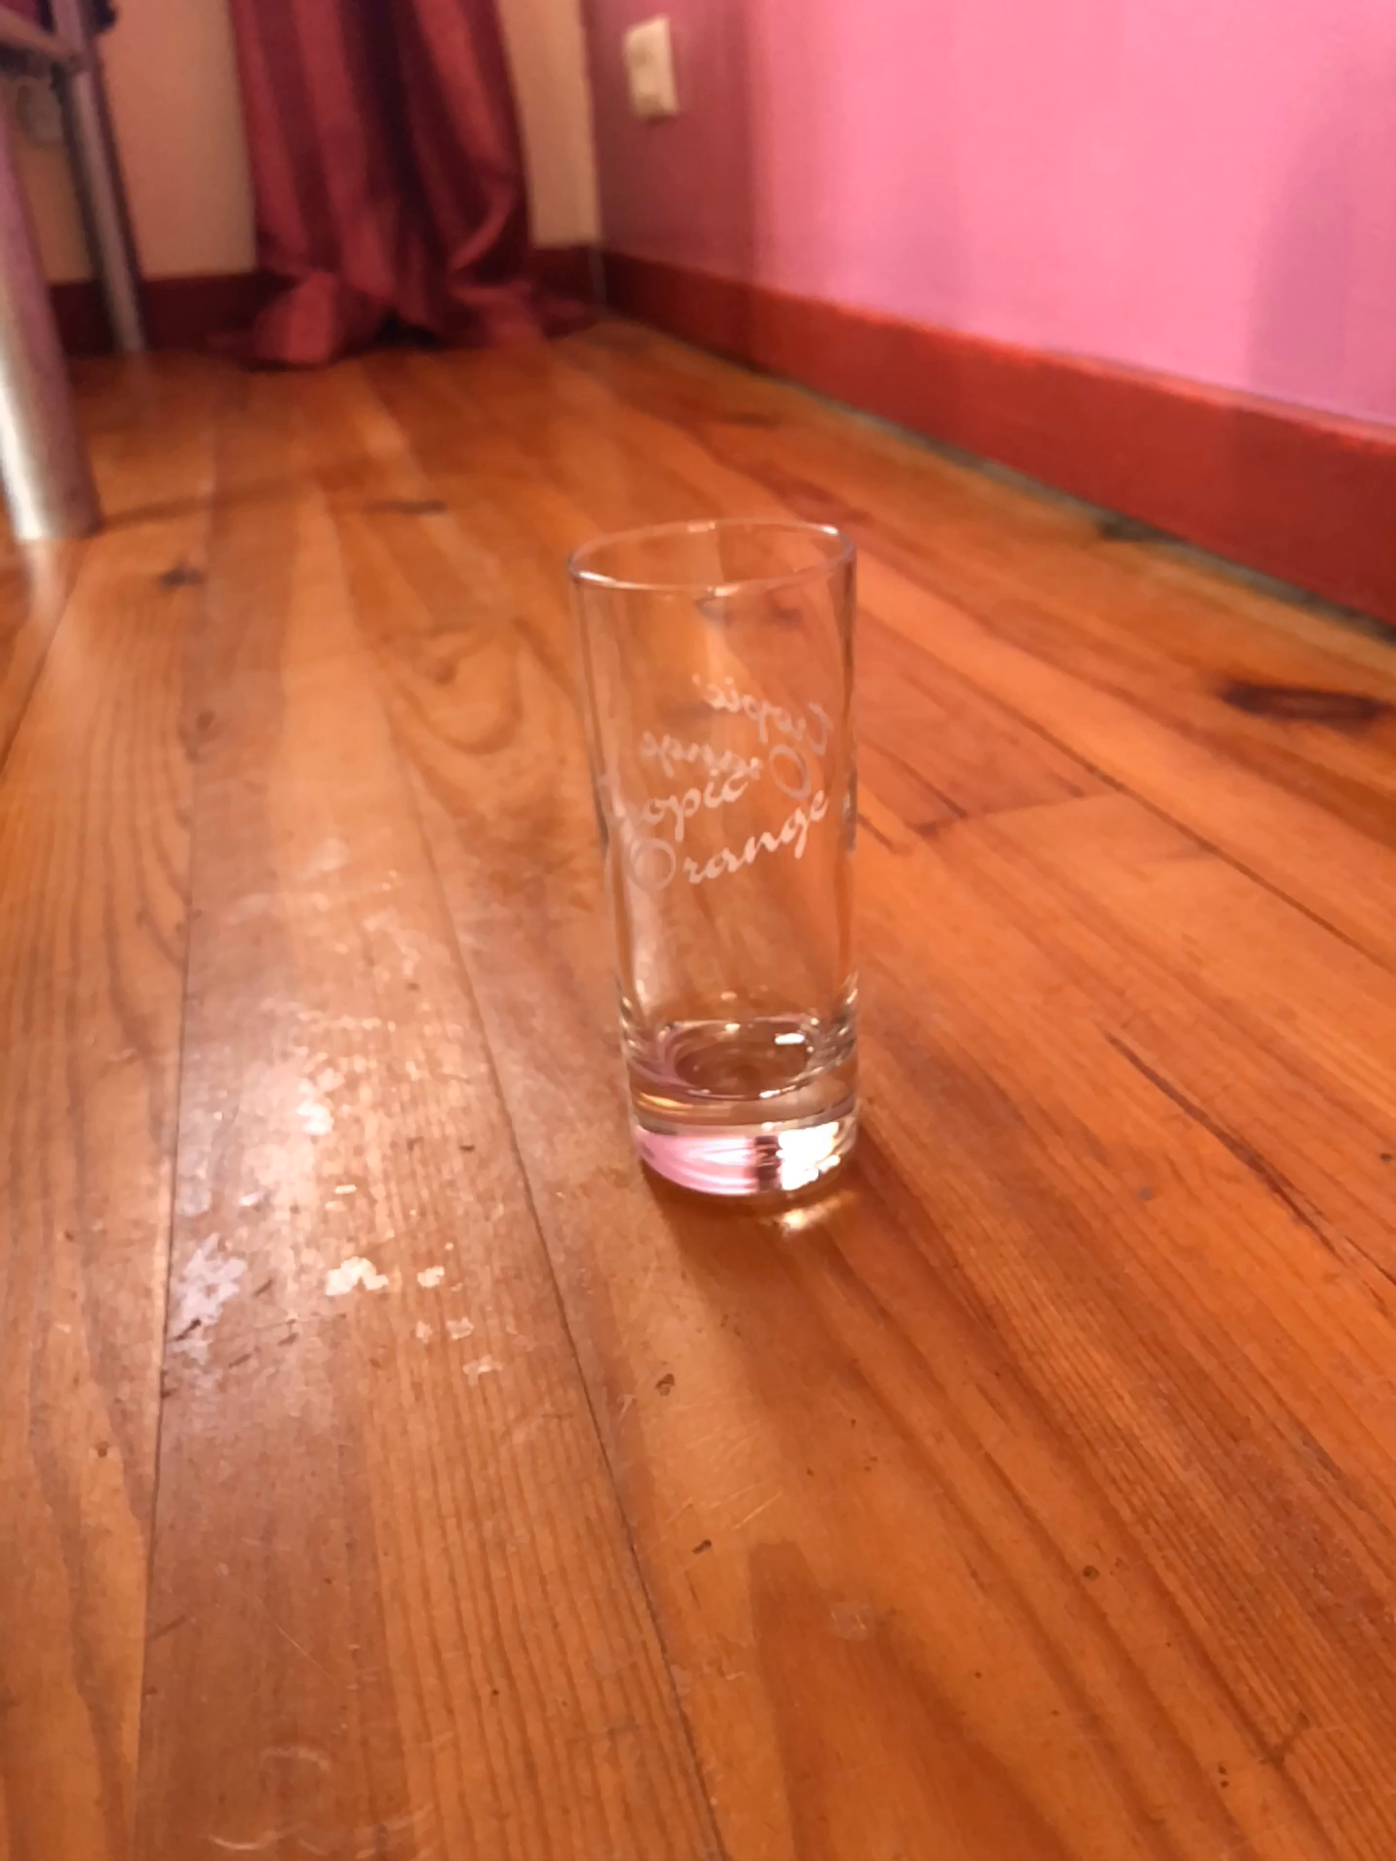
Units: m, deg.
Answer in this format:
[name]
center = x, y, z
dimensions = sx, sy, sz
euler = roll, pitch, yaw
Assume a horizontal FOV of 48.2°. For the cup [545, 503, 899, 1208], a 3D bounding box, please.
[cup]
center = 0.008, -0.014, 0.308
dimensions = 0.056, 0.124, 0.056
euler = -4, 25, 2
